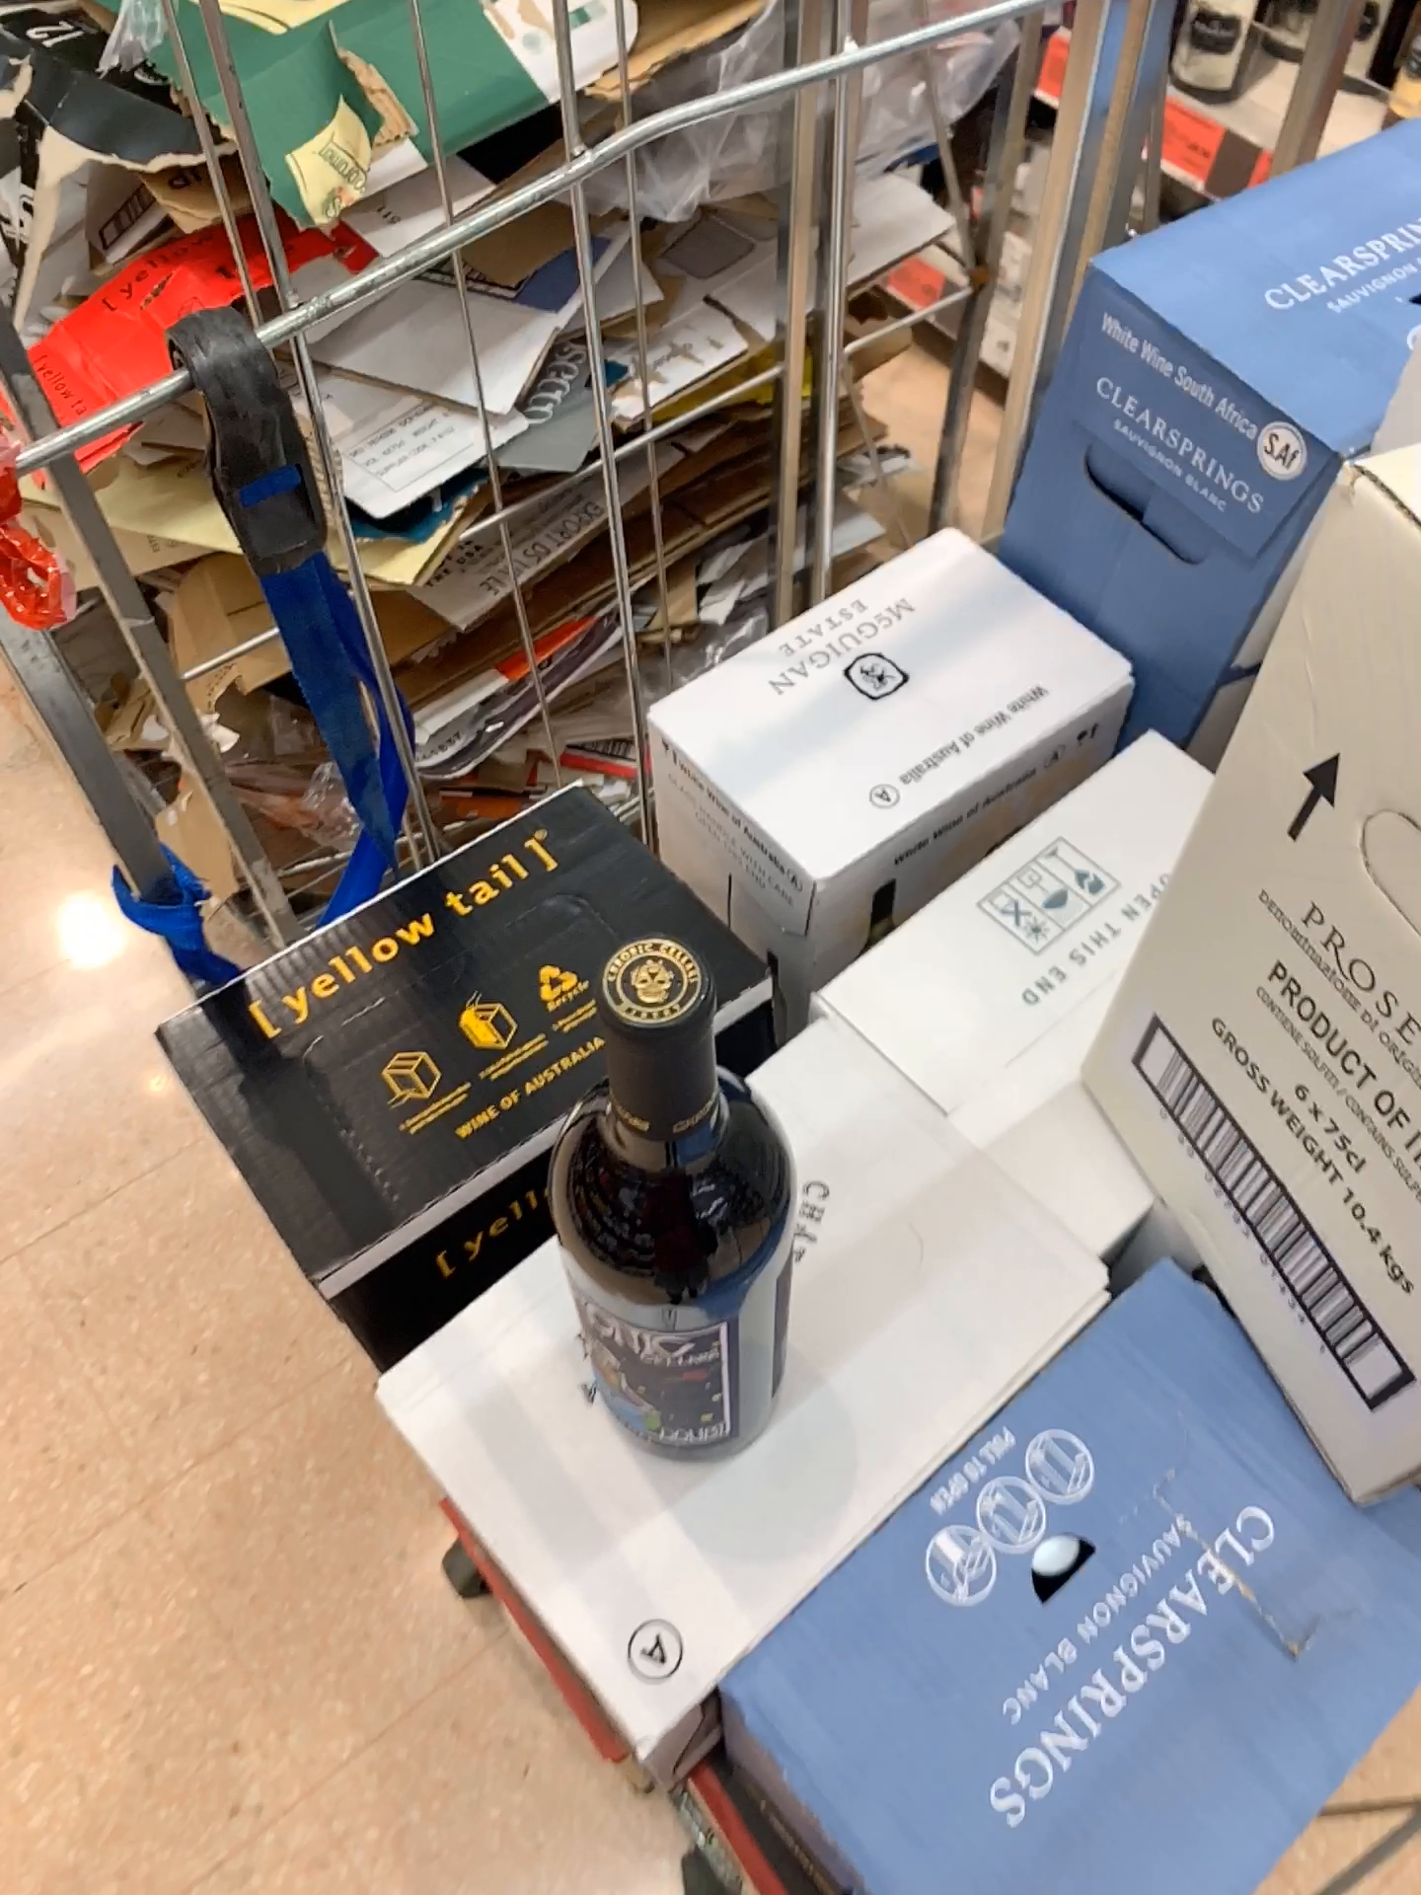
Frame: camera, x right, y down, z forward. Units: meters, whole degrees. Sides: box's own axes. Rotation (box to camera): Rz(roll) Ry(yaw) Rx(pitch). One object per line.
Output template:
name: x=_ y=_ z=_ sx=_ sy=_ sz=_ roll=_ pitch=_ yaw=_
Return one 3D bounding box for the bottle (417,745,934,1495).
bottle: x=-0.009 y=0.077 z=0.456 sx=0.085 sy=0.285 sz=0.085 roll=0 pitch=57 yaw=0
